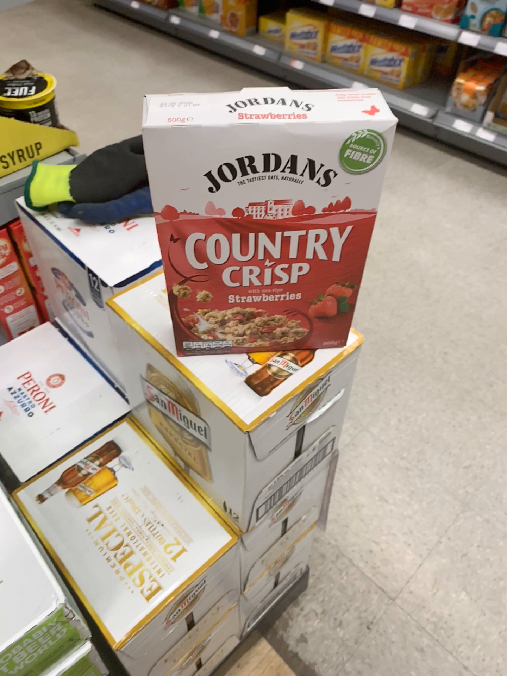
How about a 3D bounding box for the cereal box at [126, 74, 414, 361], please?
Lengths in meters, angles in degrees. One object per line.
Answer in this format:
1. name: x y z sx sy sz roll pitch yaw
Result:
1. cereal box: 0.007 -0.087 0.455 0.190 0.248 0.061 -3 49 -5
